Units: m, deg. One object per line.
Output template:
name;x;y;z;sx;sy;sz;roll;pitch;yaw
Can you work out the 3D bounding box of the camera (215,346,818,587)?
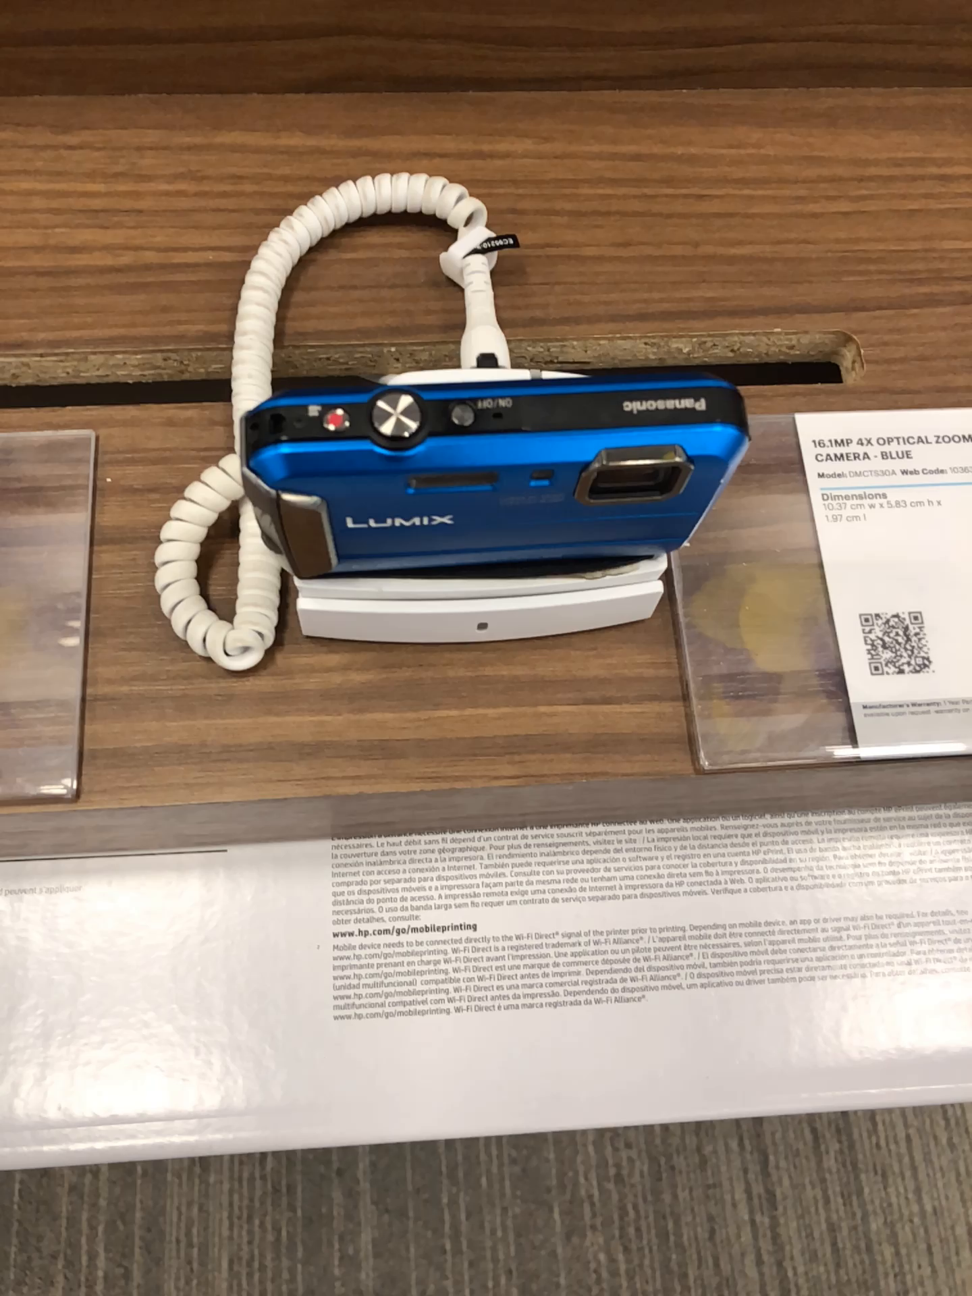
camera;0.004;-0.036;0.228;0.110;0.060;0.020;-3;73;-4
